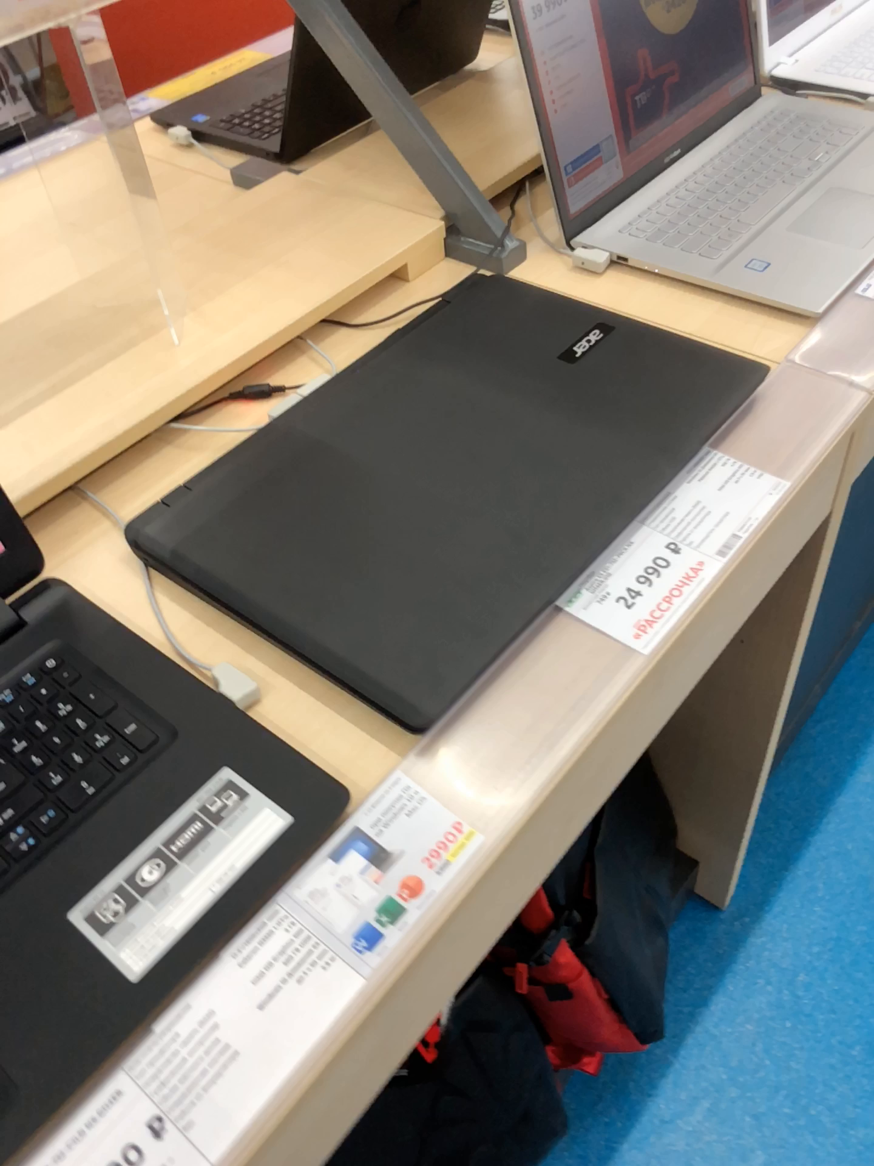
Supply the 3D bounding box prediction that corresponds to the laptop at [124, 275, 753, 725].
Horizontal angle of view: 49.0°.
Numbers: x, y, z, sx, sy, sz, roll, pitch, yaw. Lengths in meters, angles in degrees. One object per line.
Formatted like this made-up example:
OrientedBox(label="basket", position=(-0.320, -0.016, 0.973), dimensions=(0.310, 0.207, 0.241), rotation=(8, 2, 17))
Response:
OrientedBox(label="laptop", position=(0.012, -0.102, 0.719), dimensions=(0.278, 0.005, 0.411), rotation=(29, 56, 29))
